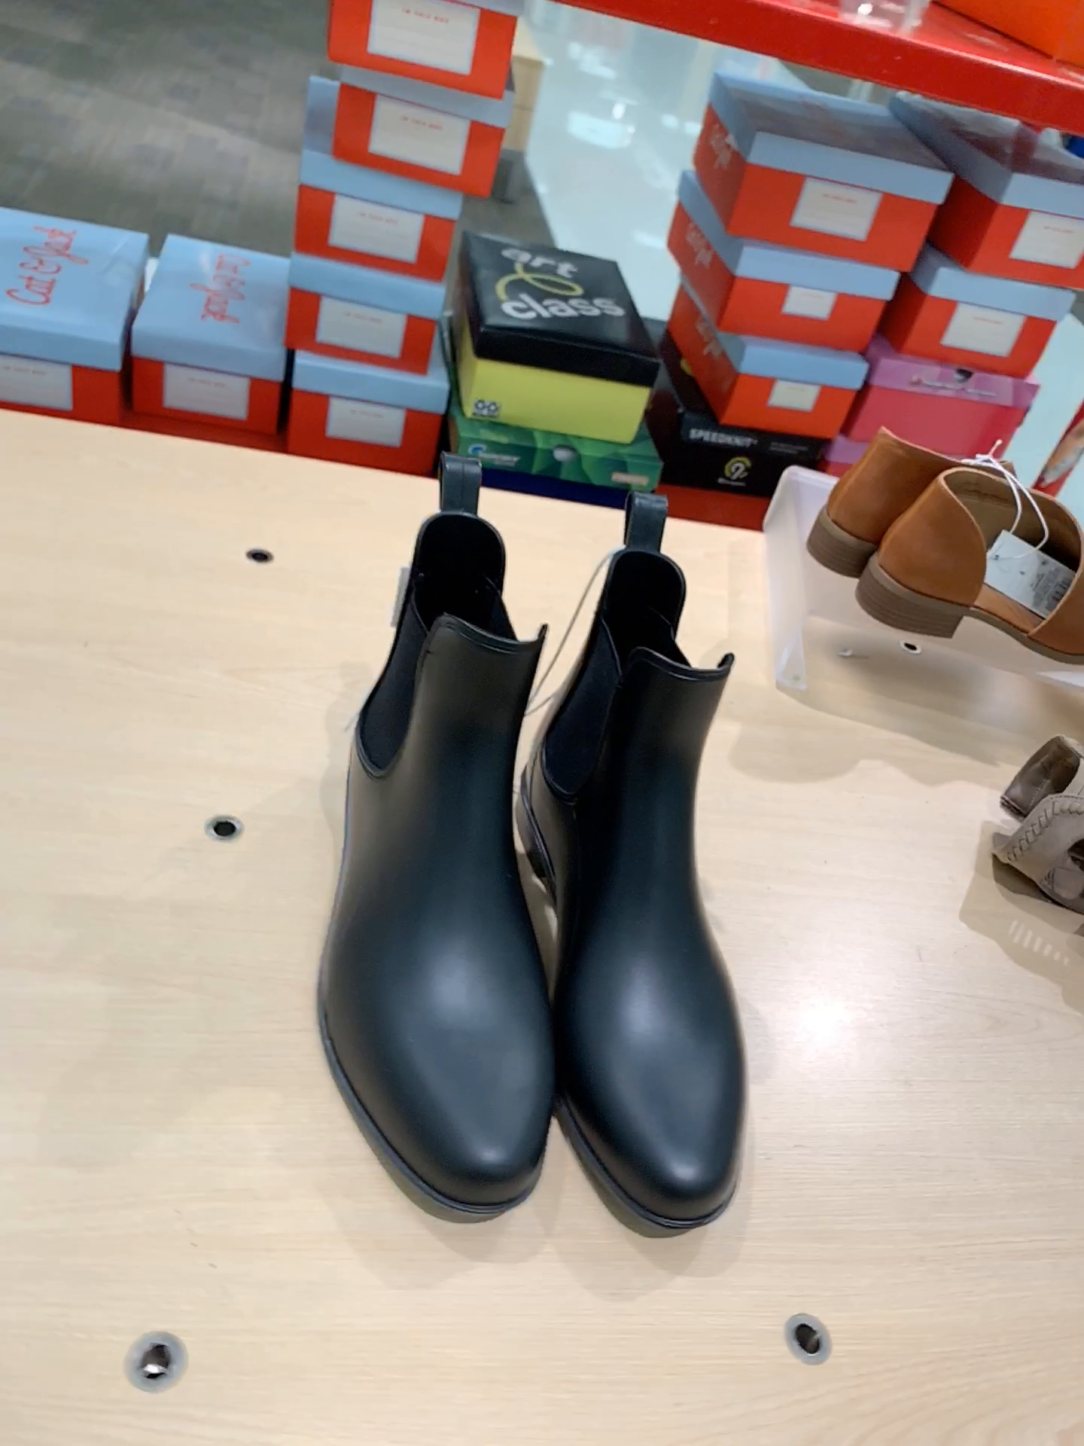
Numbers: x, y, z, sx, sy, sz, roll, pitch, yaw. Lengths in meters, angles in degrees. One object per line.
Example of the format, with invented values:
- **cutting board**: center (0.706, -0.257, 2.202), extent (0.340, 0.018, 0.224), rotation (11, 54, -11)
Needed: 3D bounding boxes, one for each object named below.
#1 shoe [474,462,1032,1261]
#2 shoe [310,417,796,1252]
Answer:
- **shoe**: center (0.057, 0.049, 0.503), extent (0.100, 0.199, 0.287), rotation (3, 41, -17)
- **shoe**: center (-0.028, 0.035, 0.484), extent (0.113, 0.201, 0.287), rotation (3, 41, -17)
